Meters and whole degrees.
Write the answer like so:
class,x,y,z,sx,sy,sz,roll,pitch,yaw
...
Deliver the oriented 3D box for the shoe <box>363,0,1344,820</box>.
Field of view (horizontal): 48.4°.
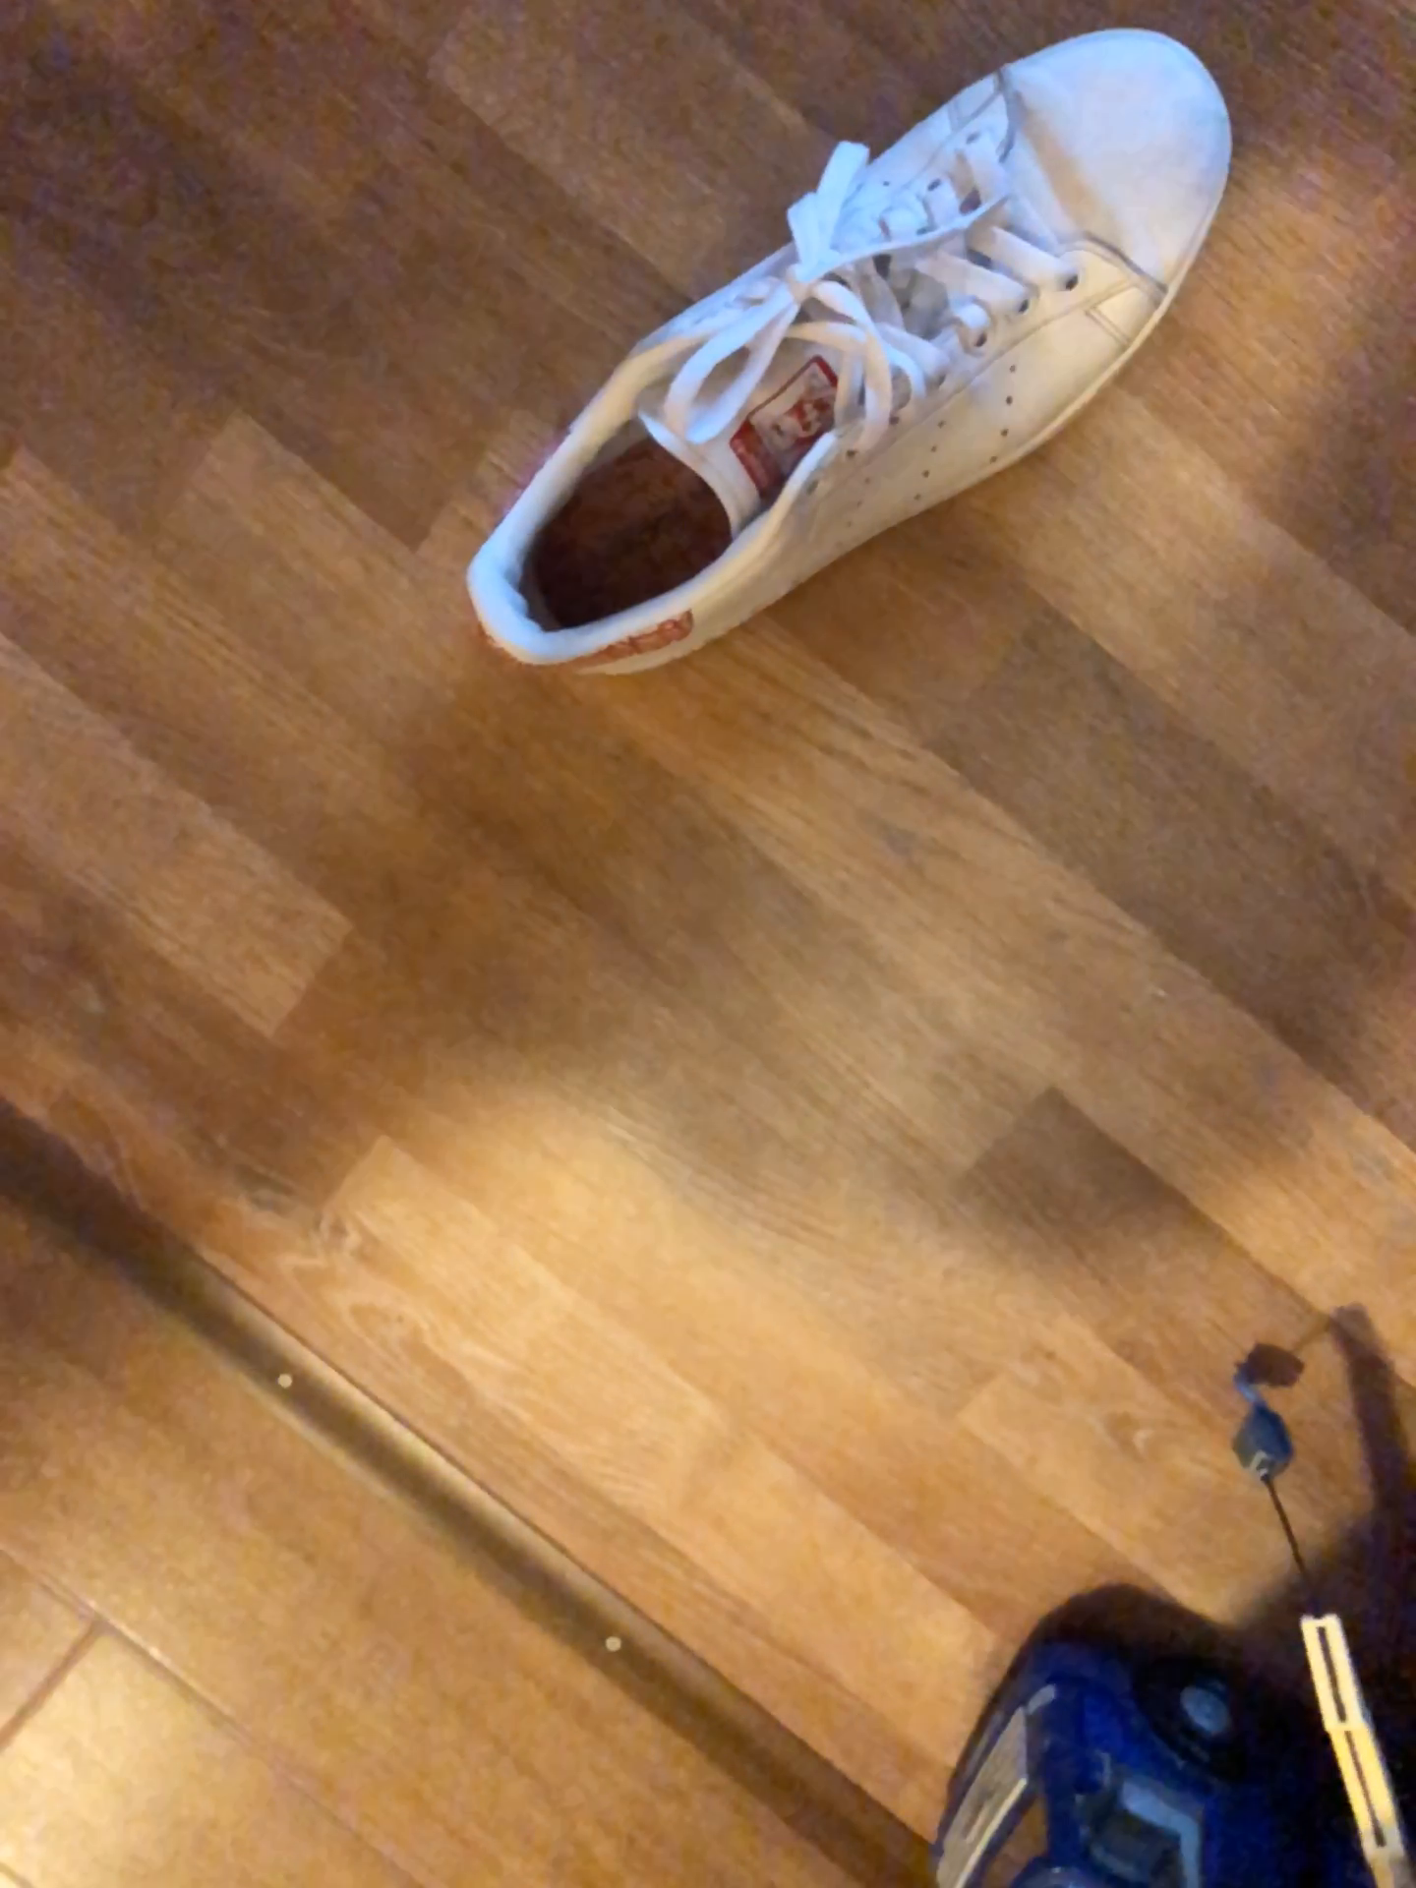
class,x,y,z,sx,sy,sz,roll,pitch,yaw
shoe,0.039,-0.158,0.472,0.250,0.110,0.100,-34,97,17
